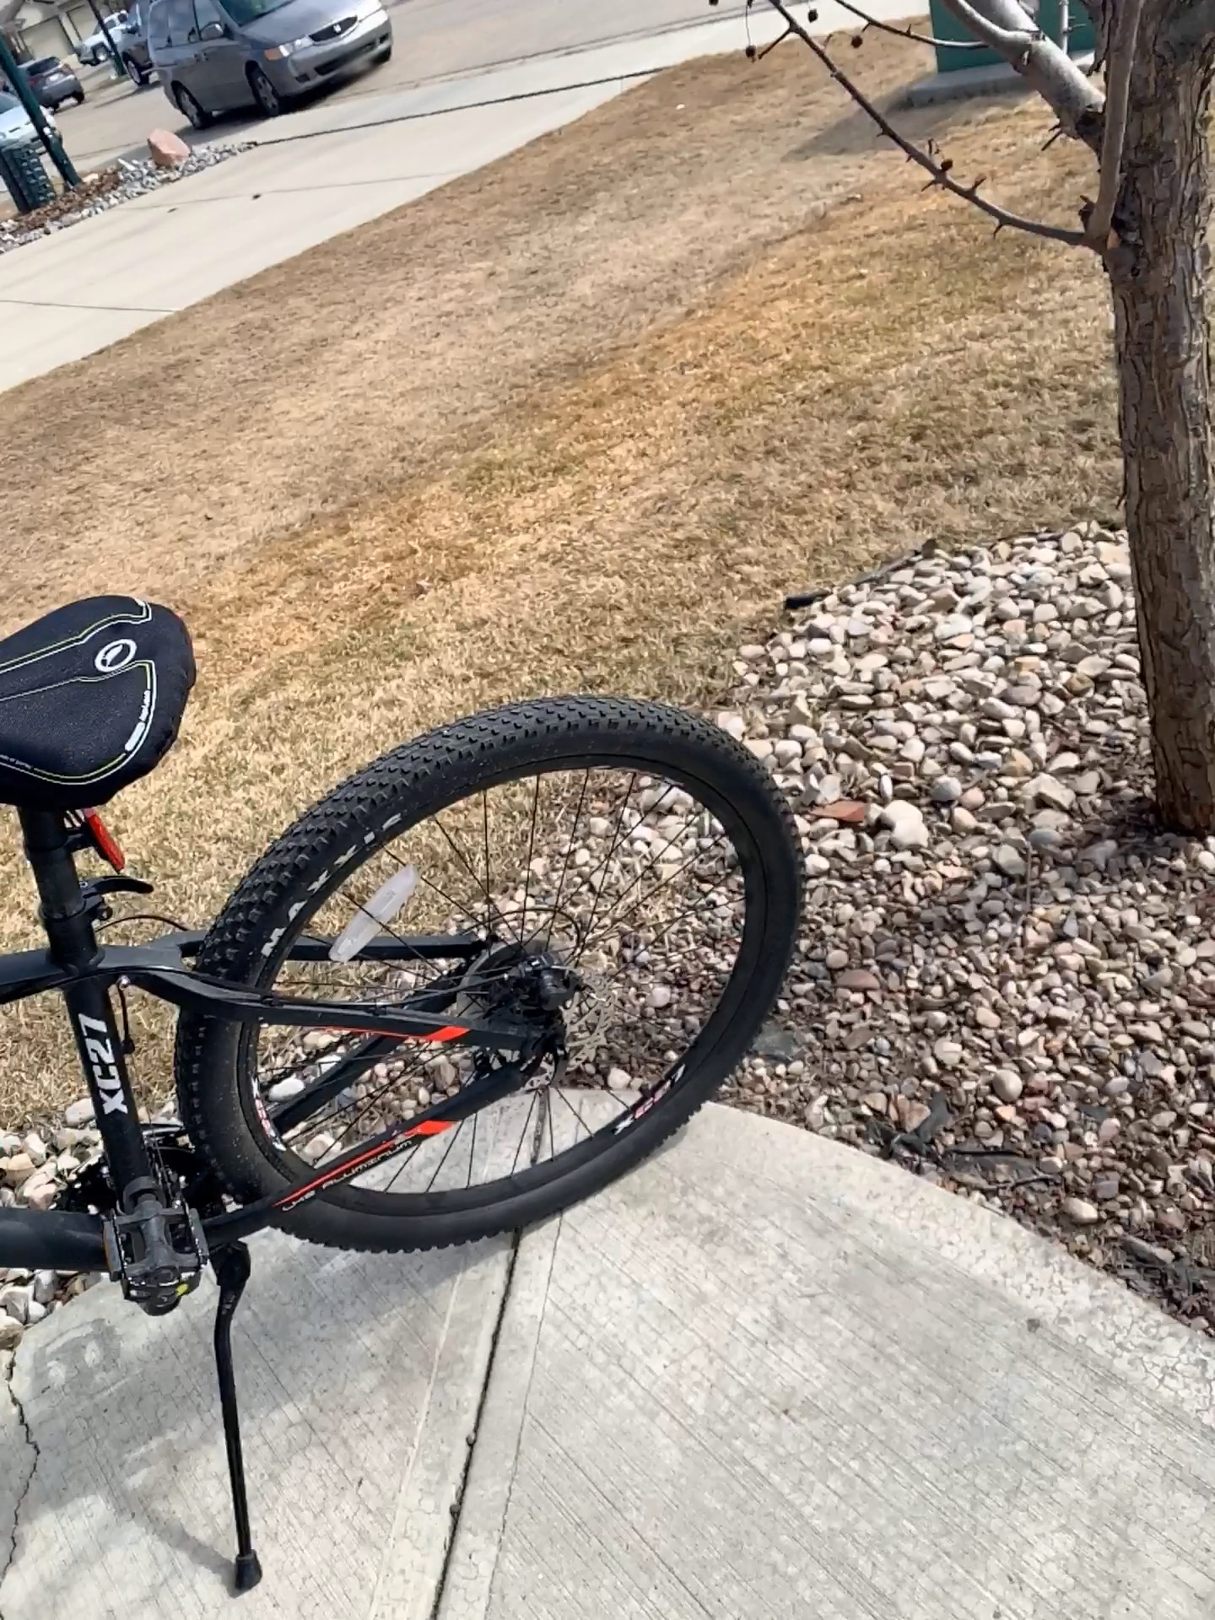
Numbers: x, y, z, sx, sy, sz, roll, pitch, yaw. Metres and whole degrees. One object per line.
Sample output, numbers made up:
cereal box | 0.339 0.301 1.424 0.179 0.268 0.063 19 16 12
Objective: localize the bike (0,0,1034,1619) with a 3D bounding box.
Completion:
bike | -0.474 0.327 0.894 1.481 1.005 0.602 -36 38 -13
